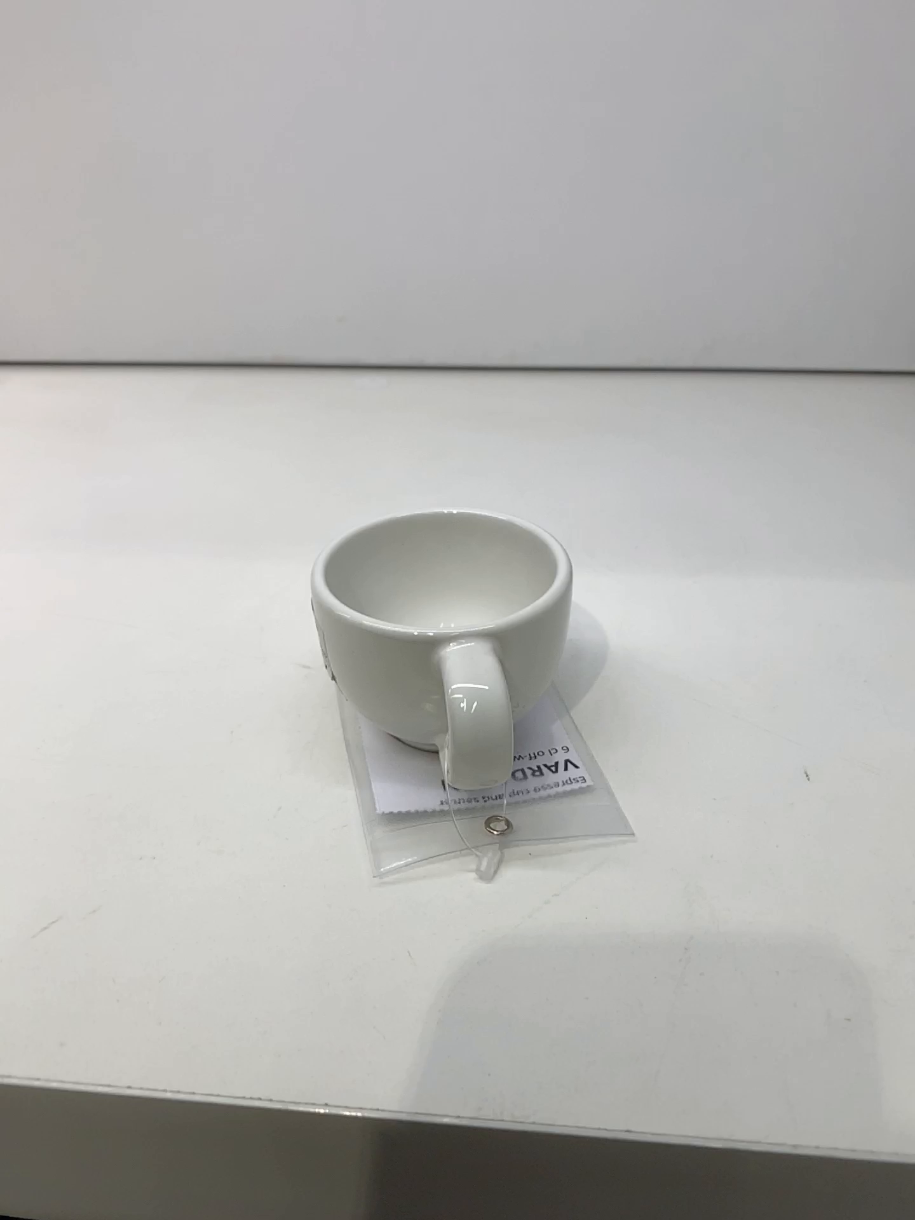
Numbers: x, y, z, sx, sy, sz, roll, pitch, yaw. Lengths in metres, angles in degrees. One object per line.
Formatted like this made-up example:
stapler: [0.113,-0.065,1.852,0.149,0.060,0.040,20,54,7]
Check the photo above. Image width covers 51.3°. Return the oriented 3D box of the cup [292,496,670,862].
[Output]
cup: [0.000,0.011,0.225,0.070,0.040,0.080,-7,31,-9]
